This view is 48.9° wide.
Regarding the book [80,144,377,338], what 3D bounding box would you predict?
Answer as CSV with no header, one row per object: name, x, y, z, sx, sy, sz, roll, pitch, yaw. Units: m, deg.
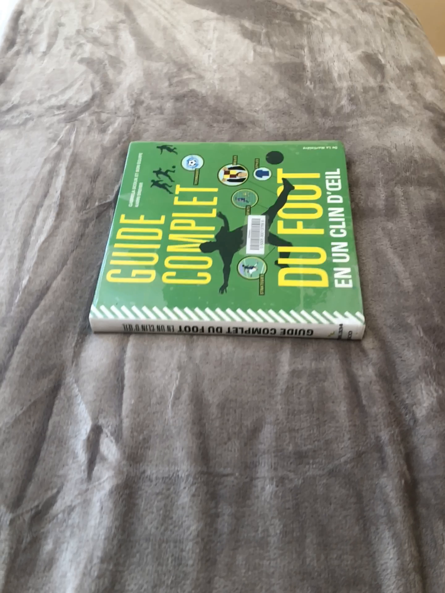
book,0.009,-0.066,0.466,0.238,0.018,0.229,1,54,3
